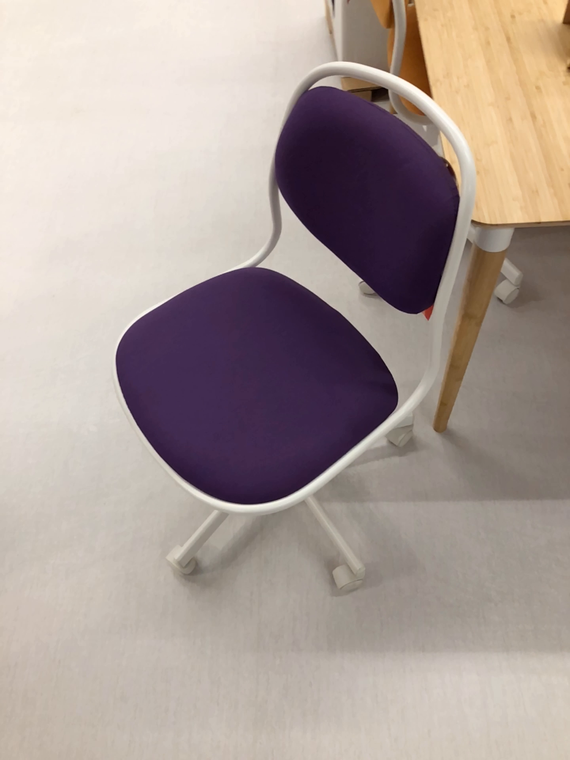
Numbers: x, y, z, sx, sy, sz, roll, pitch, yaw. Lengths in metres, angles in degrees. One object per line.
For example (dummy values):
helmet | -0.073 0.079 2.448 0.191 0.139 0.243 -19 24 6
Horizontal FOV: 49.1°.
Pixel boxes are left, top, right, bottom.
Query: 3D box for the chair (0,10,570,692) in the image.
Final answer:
chair | -0.022 -0.004 1.082 0.661 0.776 0.623 -33 60 -16
